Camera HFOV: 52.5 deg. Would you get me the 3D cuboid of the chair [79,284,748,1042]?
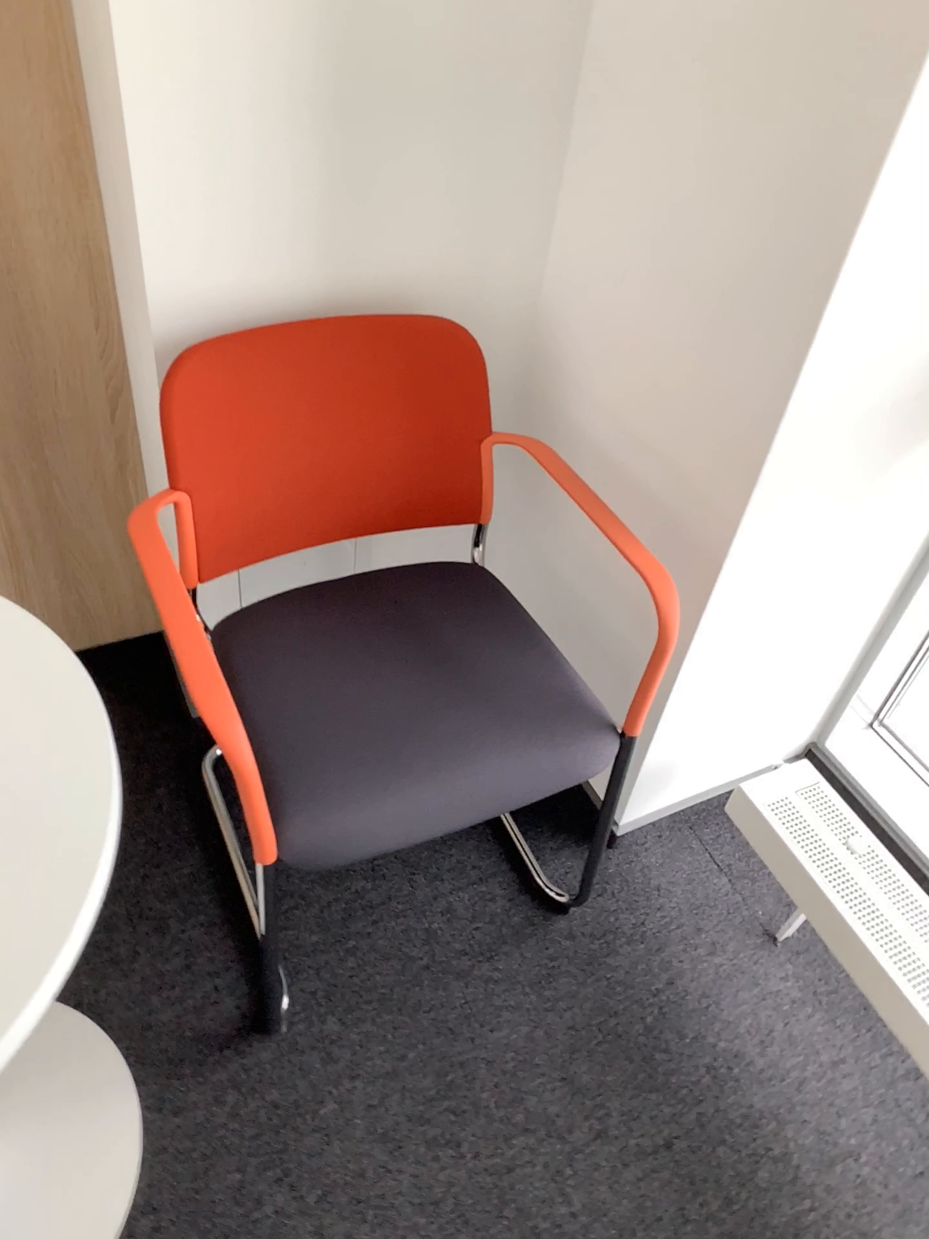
[{"bbox_3d":[-0.123,0.056,1.314,0.571,0.776,0.562,-14,48,-22],"label":"chair"}]
